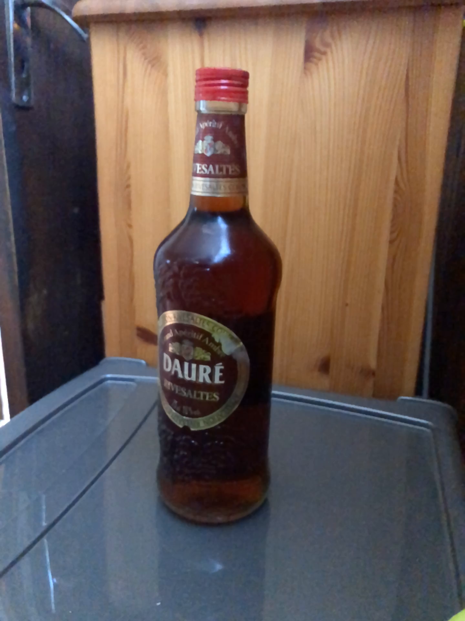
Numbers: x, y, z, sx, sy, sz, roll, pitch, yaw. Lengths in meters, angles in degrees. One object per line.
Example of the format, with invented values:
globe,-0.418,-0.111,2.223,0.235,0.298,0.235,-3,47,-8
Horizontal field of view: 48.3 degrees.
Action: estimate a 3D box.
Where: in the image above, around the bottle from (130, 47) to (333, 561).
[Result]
bottle,0.000,-0.001,0.345,0.090,0.299,0.090,2,17,-1
